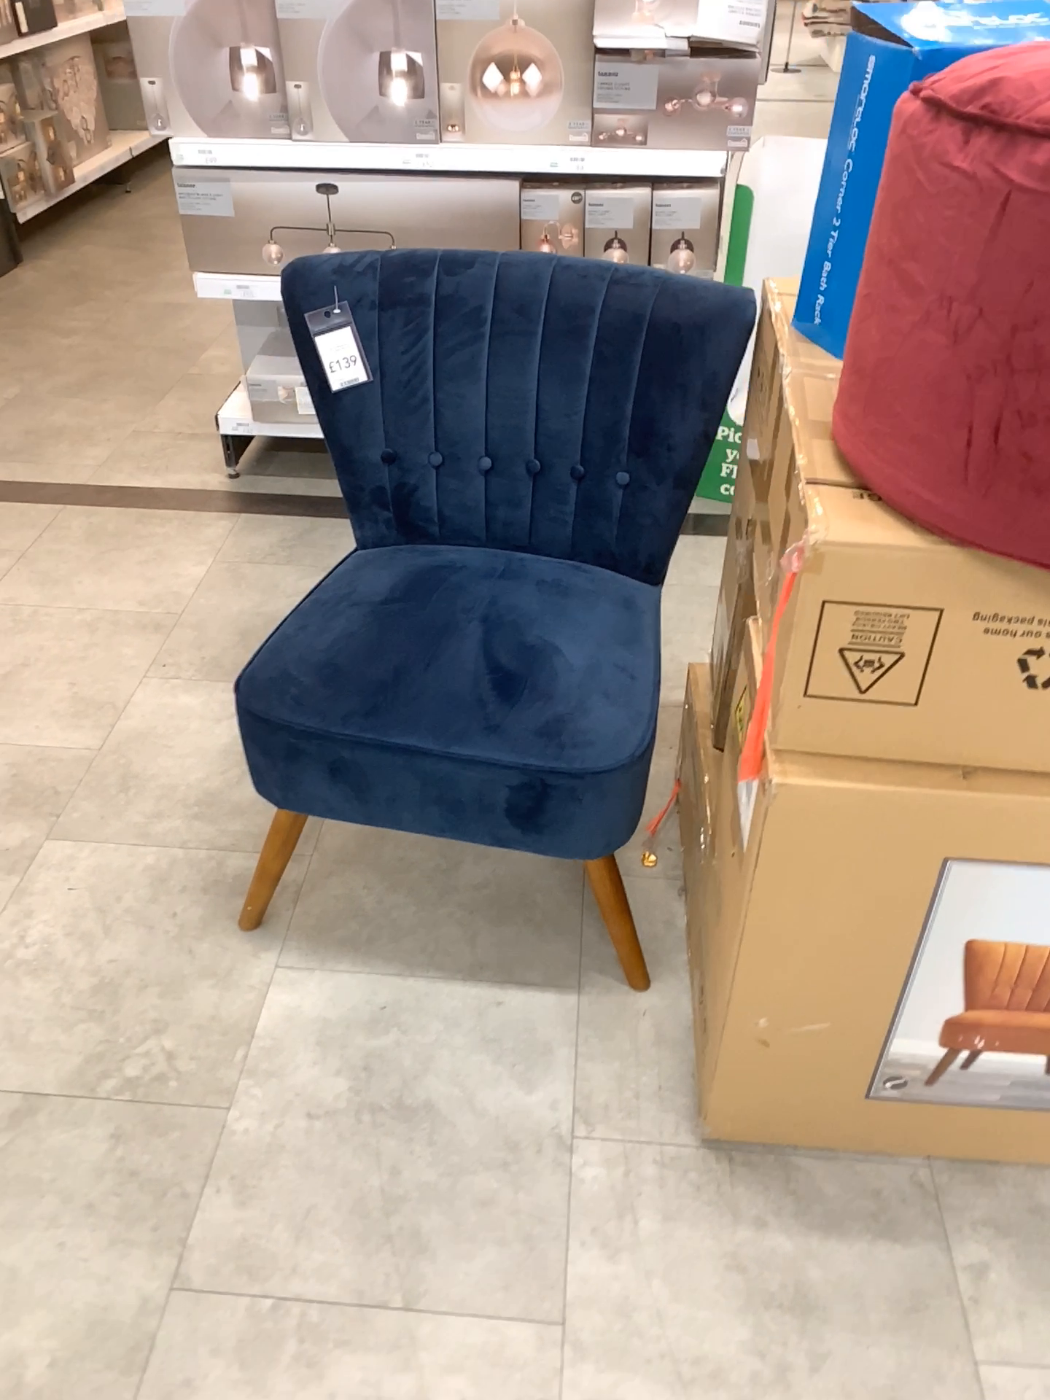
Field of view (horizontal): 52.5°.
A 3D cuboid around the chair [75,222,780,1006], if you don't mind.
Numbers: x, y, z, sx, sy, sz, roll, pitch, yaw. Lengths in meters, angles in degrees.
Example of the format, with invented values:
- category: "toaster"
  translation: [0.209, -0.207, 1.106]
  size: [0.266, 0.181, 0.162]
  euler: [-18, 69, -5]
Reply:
- category: "chair"
  translation: [-0.047, -0.156, 1.535]
  size: [0.690, 0.792, 0.727]
  euler: [7, 38, 8]
